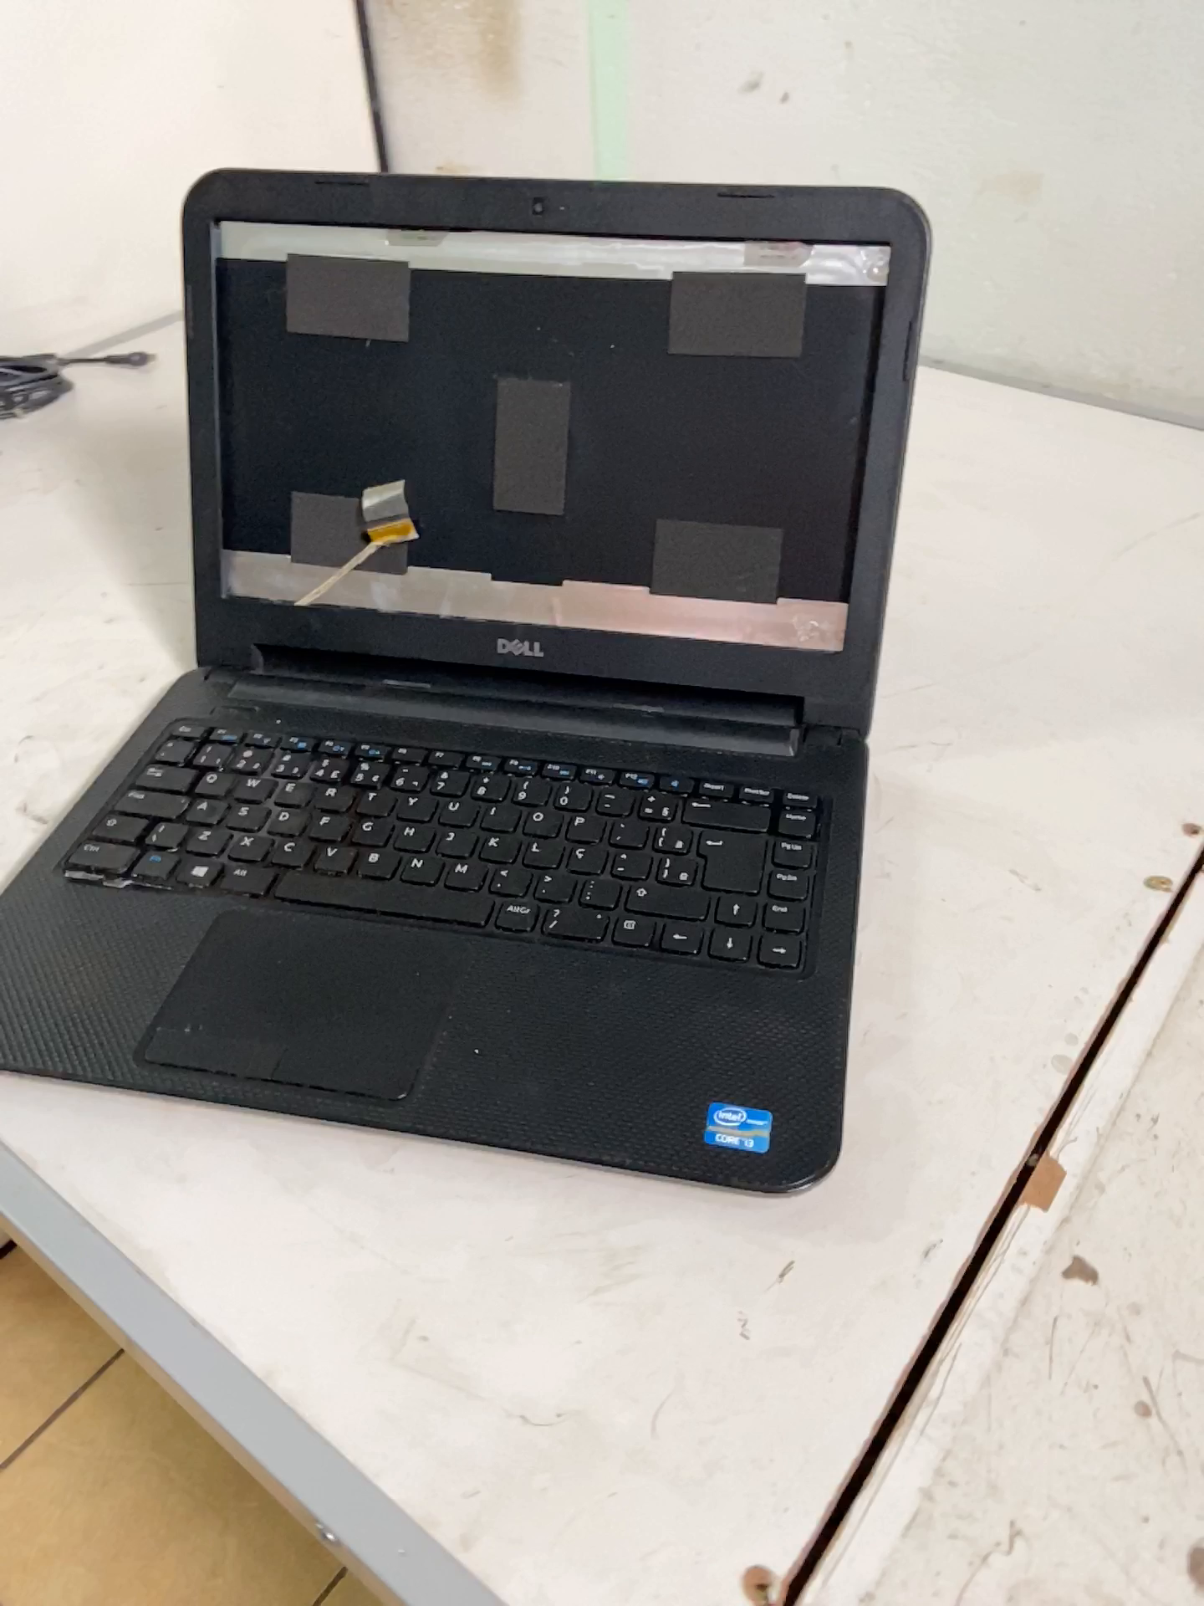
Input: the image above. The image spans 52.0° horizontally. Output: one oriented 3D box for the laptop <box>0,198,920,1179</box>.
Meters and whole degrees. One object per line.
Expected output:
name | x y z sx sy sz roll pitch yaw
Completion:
laptop | -0.057 -0.079 0.476 0.319 0.193 0.337 6 42 11
